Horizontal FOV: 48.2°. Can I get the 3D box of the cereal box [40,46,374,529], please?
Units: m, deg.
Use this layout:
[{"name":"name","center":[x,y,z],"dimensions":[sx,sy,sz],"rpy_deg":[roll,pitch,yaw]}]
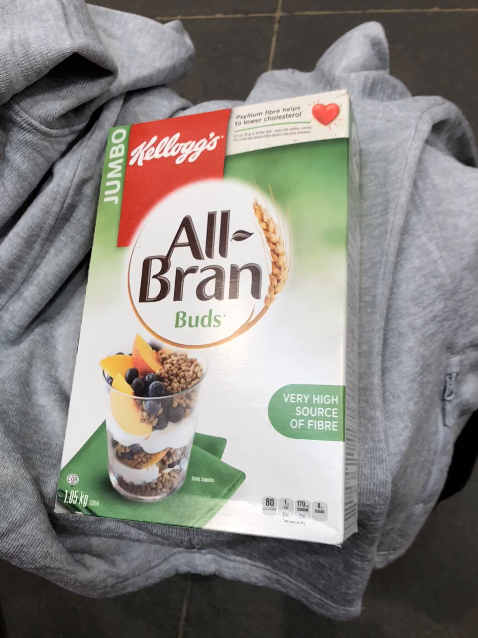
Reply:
[{"name":"cereal box","center":[-0.014,-0.022,0.380],"dimensions":[0.200,0.070,0.300],"rpy_deg":[-3,72,21]}]
